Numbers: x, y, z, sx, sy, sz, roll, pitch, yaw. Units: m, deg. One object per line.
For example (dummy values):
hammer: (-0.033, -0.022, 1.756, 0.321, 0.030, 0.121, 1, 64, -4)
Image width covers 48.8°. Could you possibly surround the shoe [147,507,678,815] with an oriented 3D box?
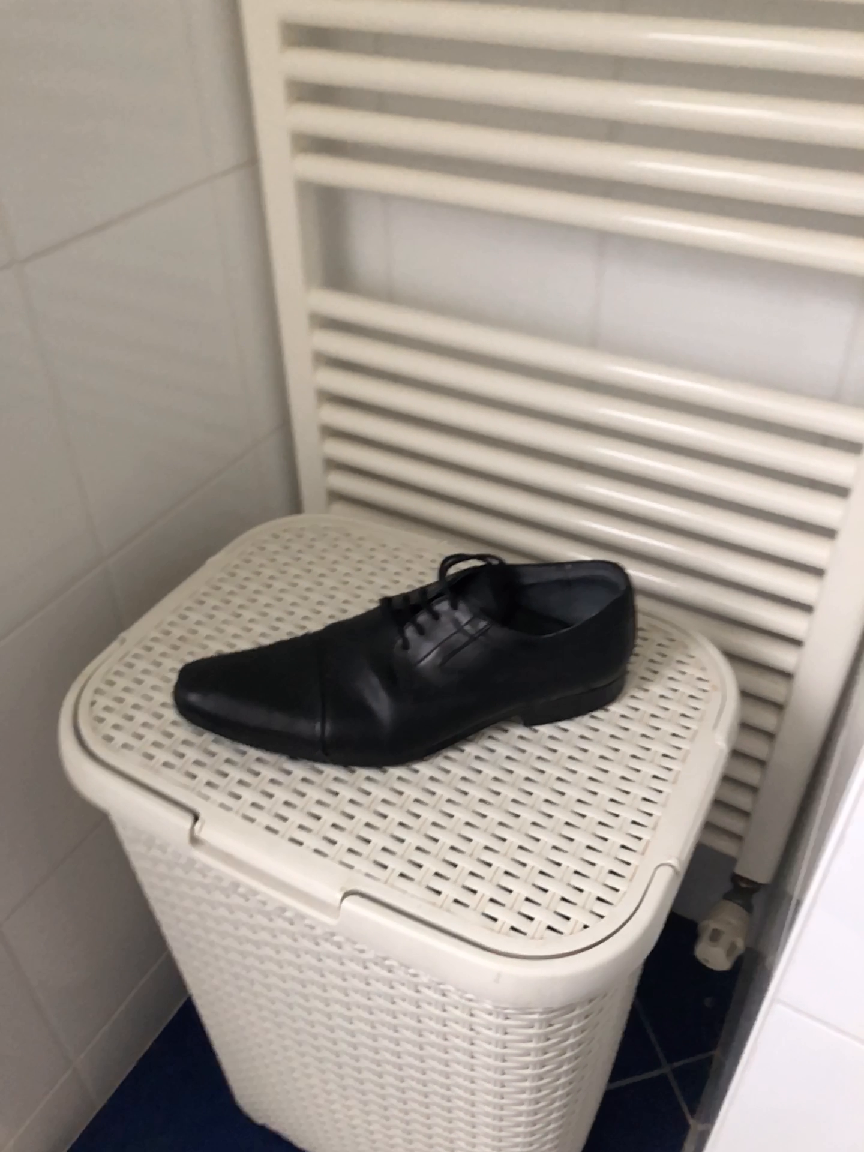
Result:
shoe: (-0.015, 0.049, 0.617, 0.310, 0.099, 0.111, -9, 39, -10)
